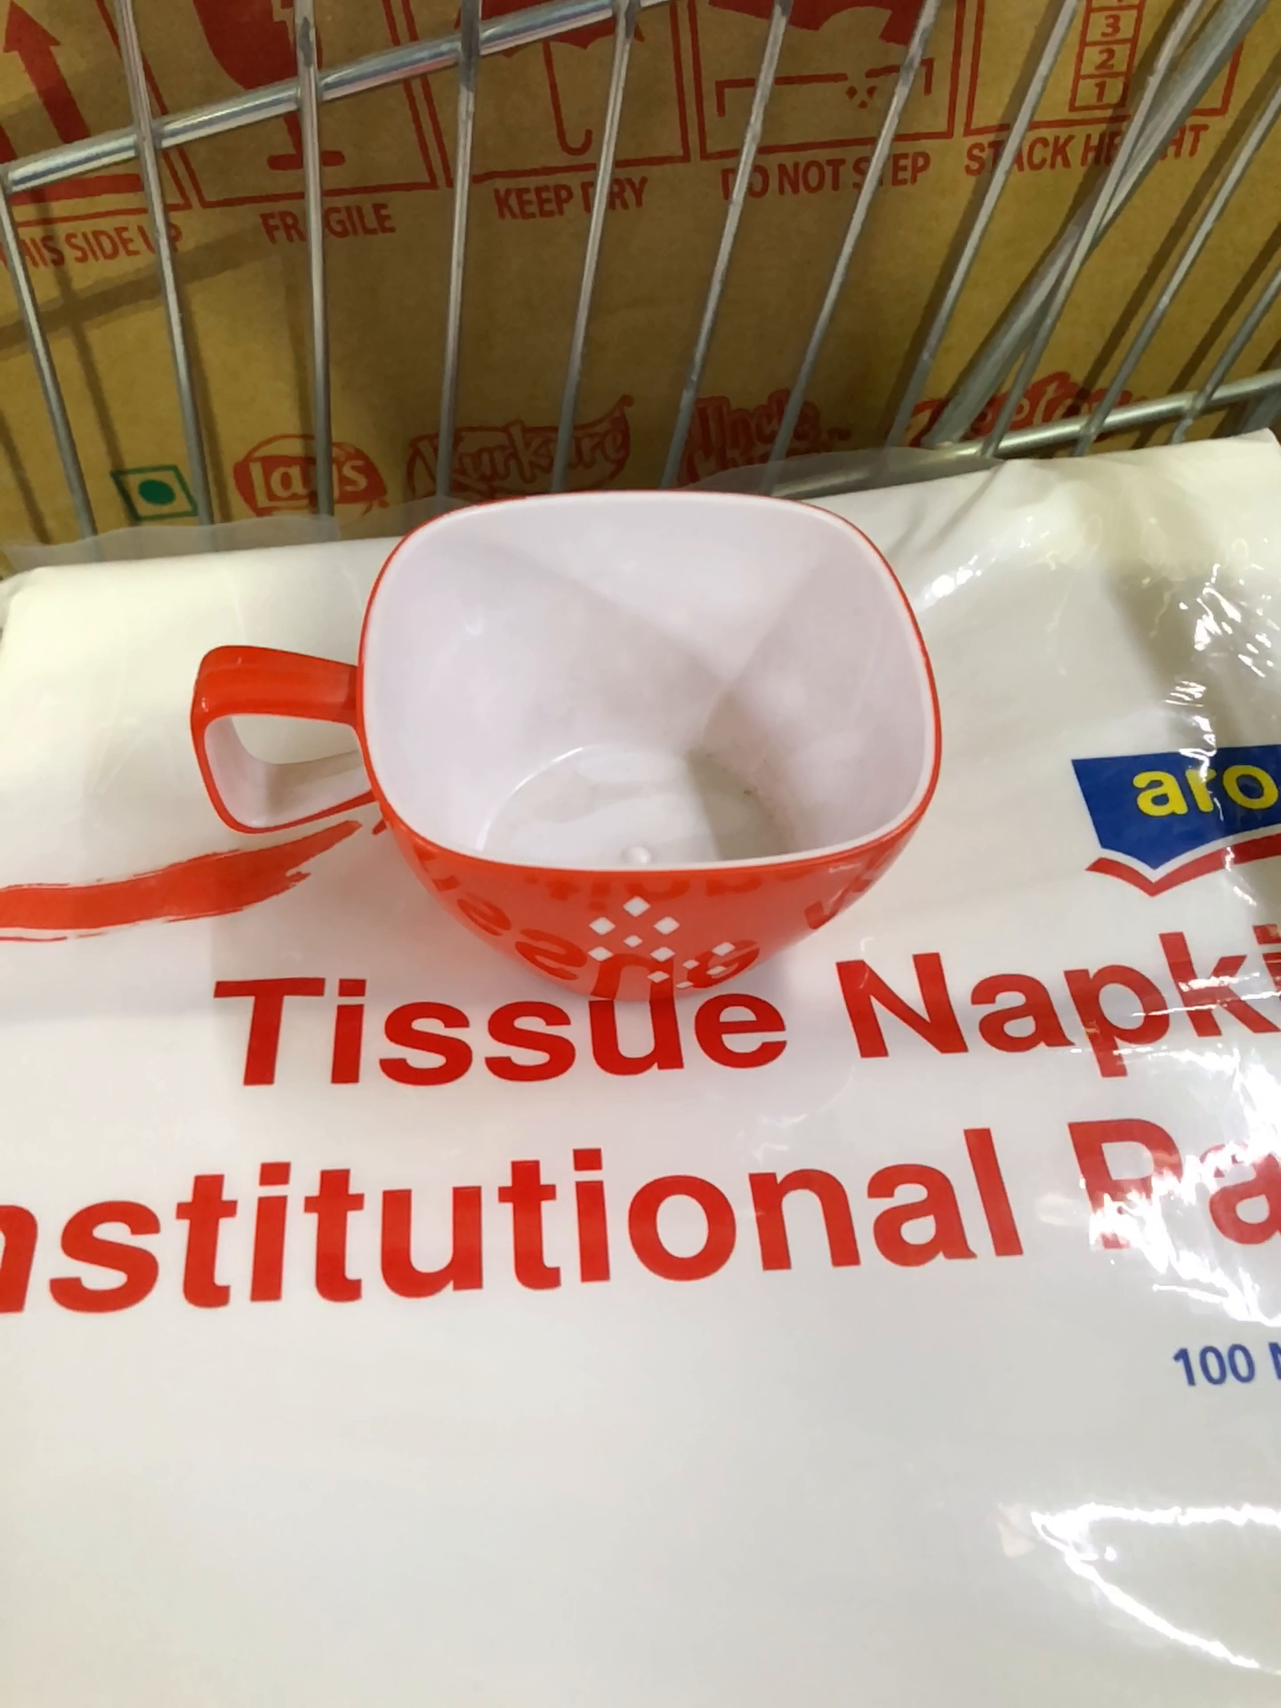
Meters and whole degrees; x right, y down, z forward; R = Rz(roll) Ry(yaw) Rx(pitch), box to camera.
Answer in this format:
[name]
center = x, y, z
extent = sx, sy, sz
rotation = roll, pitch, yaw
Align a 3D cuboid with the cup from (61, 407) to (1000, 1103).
[cup]
center = -0.018, -0.015, 0.231
extent = 0.120, 0.060, 0.090
rotation = 0, 58, -8
